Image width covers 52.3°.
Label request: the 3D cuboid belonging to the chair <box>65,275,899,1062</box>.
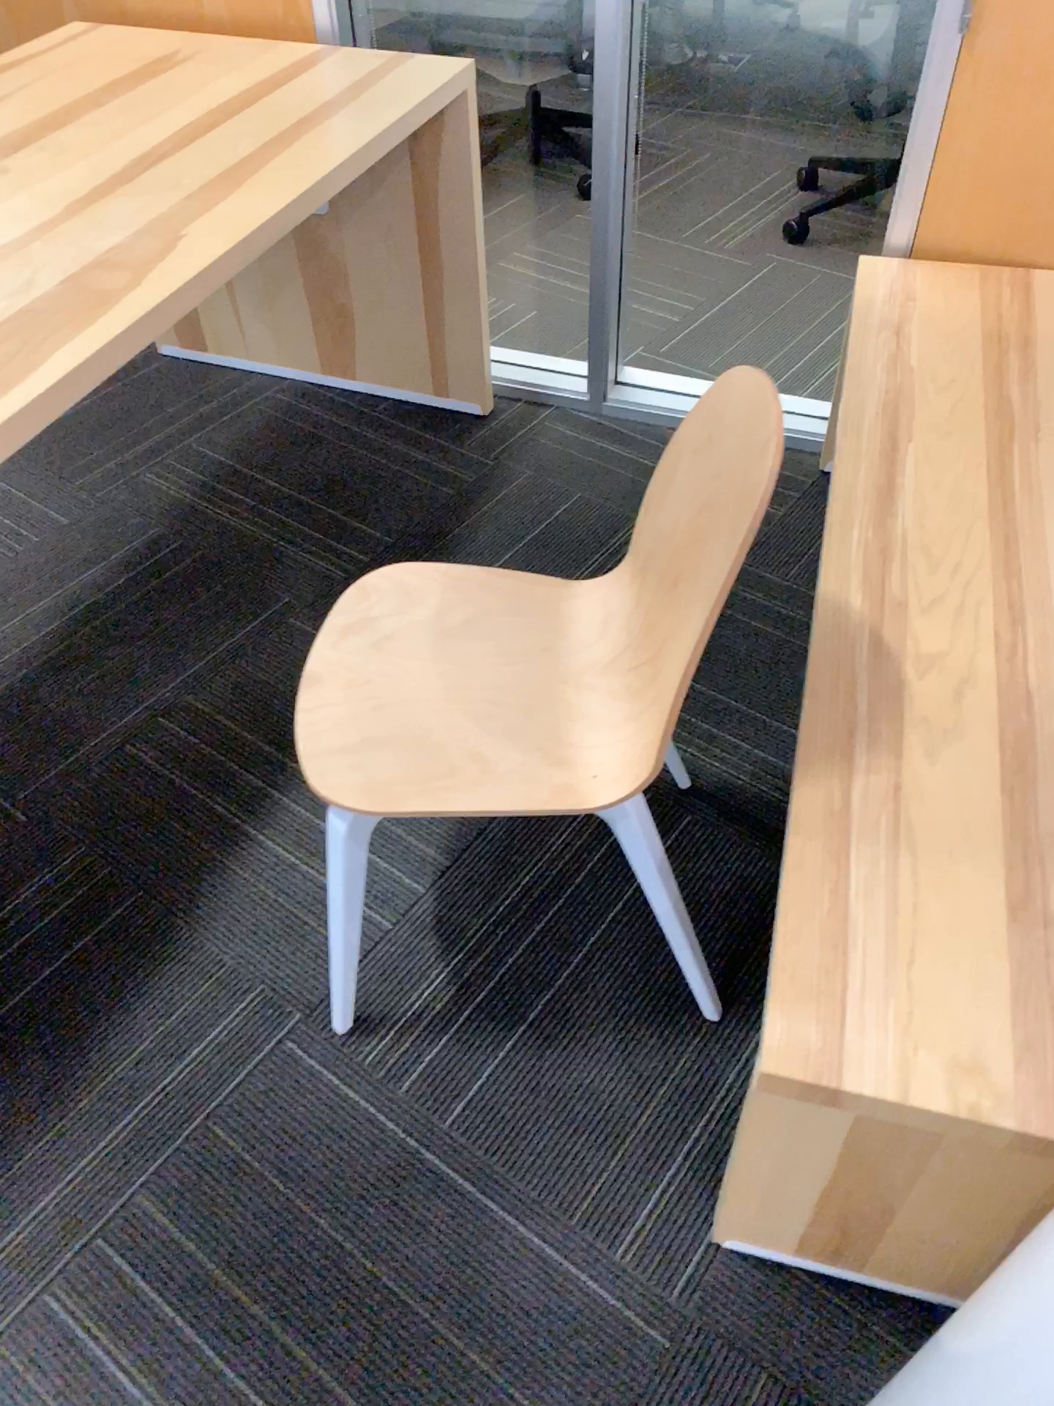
[{"bbox_3d":[-0.037,-0.008,1.294,0.650,0.766,0.523,-3,46,-1],"label":"chair"}]
